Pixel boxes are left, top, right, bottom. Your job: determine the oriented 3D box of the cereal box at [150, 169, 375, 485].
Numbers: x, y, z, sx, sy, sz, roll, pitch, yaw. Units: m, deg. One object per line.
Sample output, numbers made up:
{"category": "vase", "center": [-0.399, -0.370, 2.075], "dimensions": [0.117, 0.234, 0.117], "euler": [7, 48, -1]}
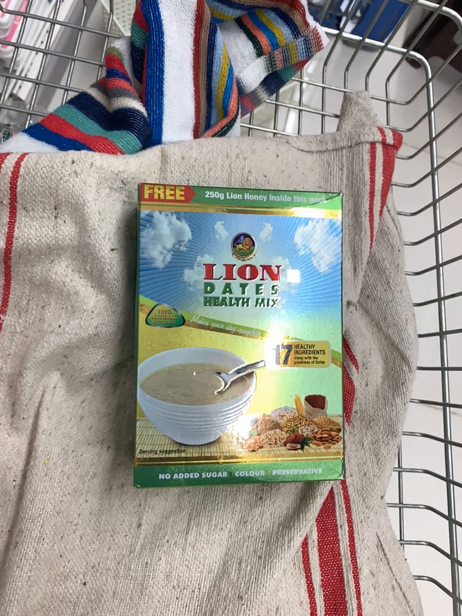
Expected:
{"category": "cereal box", "center": [0.016, 0.013, 0.341], "dimensions": [0.140, 0.090, 0.190], "euler": [1, 87, -8]}
